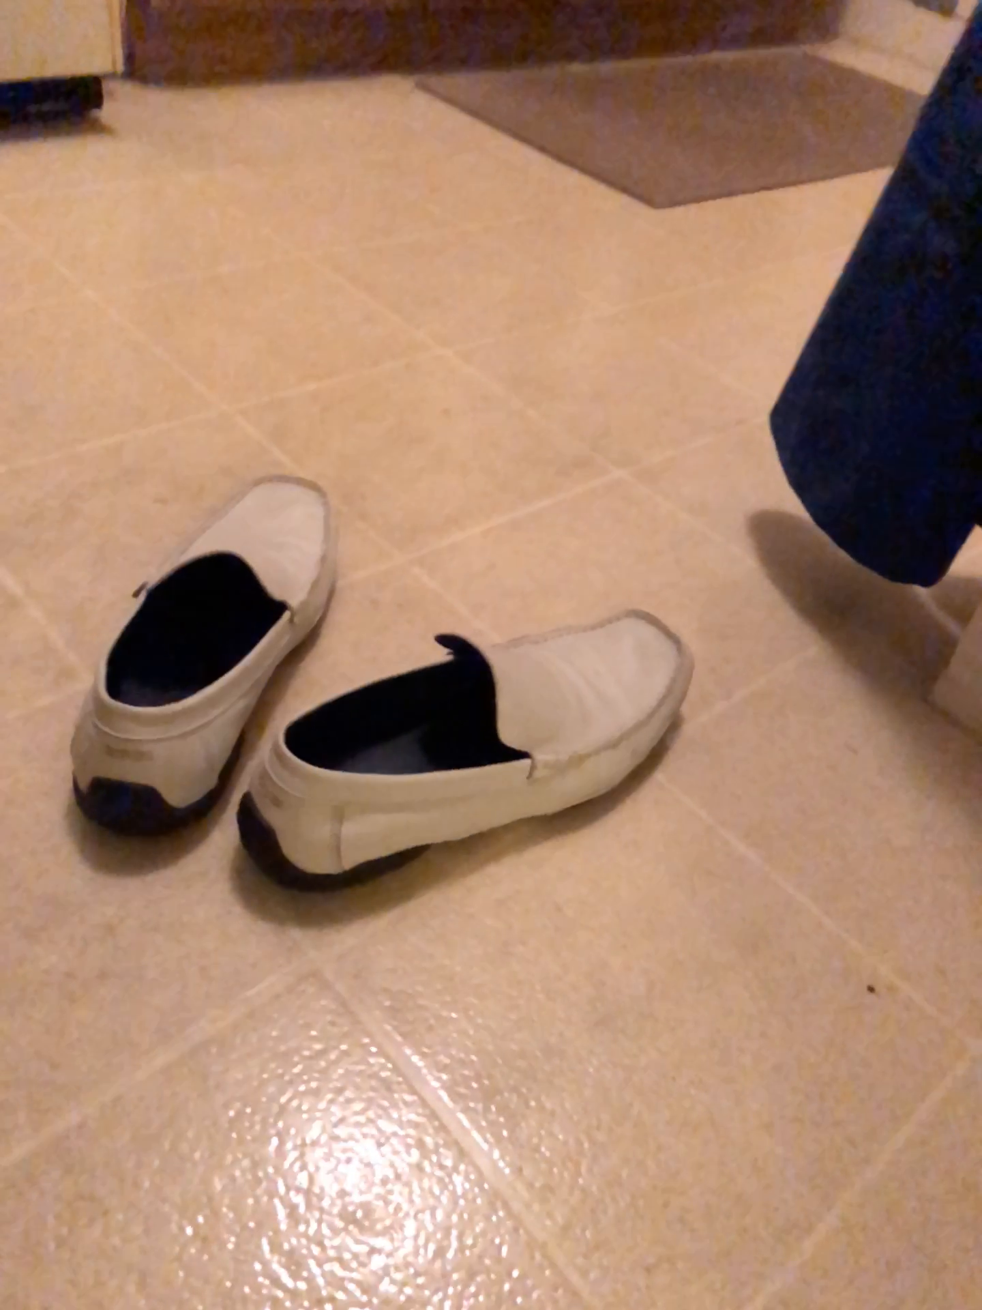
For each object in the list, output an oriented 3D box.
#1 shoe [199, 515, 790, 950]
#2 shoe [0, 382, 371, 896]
[{"bbox_3d":[0.006,0.027,0.578,0.290,0.097,0.111,-19,49,-30],"label":"shoe"},{"bbox_3d":[-0.155,-0.029,0.607,0.110,0.097,0.308,10,41,0],"label":"shoe"}]
